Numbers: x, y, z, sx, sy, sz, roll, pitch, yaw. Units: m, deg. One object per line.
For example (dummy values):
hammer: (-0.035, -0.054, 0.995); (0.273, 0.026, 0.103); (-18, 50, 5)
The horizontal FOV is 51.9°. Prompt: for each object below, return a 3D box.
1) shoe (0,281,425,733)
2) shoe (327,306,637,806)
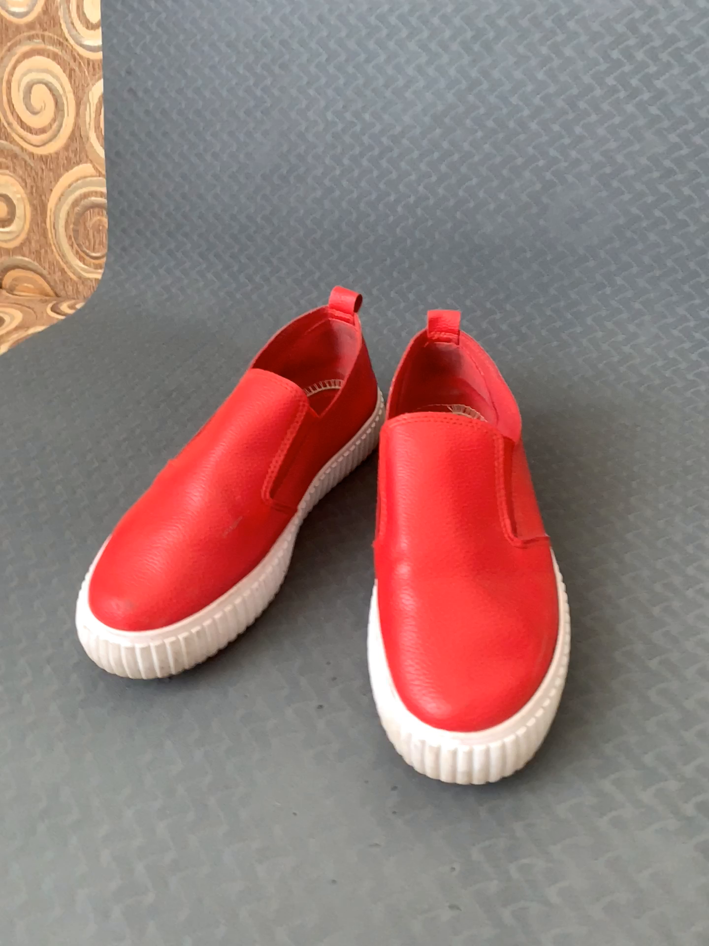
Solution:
shoe: (-0.059, -0.004, 0.376); (0.095, 0.070, 0.241); (19, 47, 23)
shoe: (0.046, 0.016, 0.338); (0.095, 0.070, 0.241); (0, 43, 4)
